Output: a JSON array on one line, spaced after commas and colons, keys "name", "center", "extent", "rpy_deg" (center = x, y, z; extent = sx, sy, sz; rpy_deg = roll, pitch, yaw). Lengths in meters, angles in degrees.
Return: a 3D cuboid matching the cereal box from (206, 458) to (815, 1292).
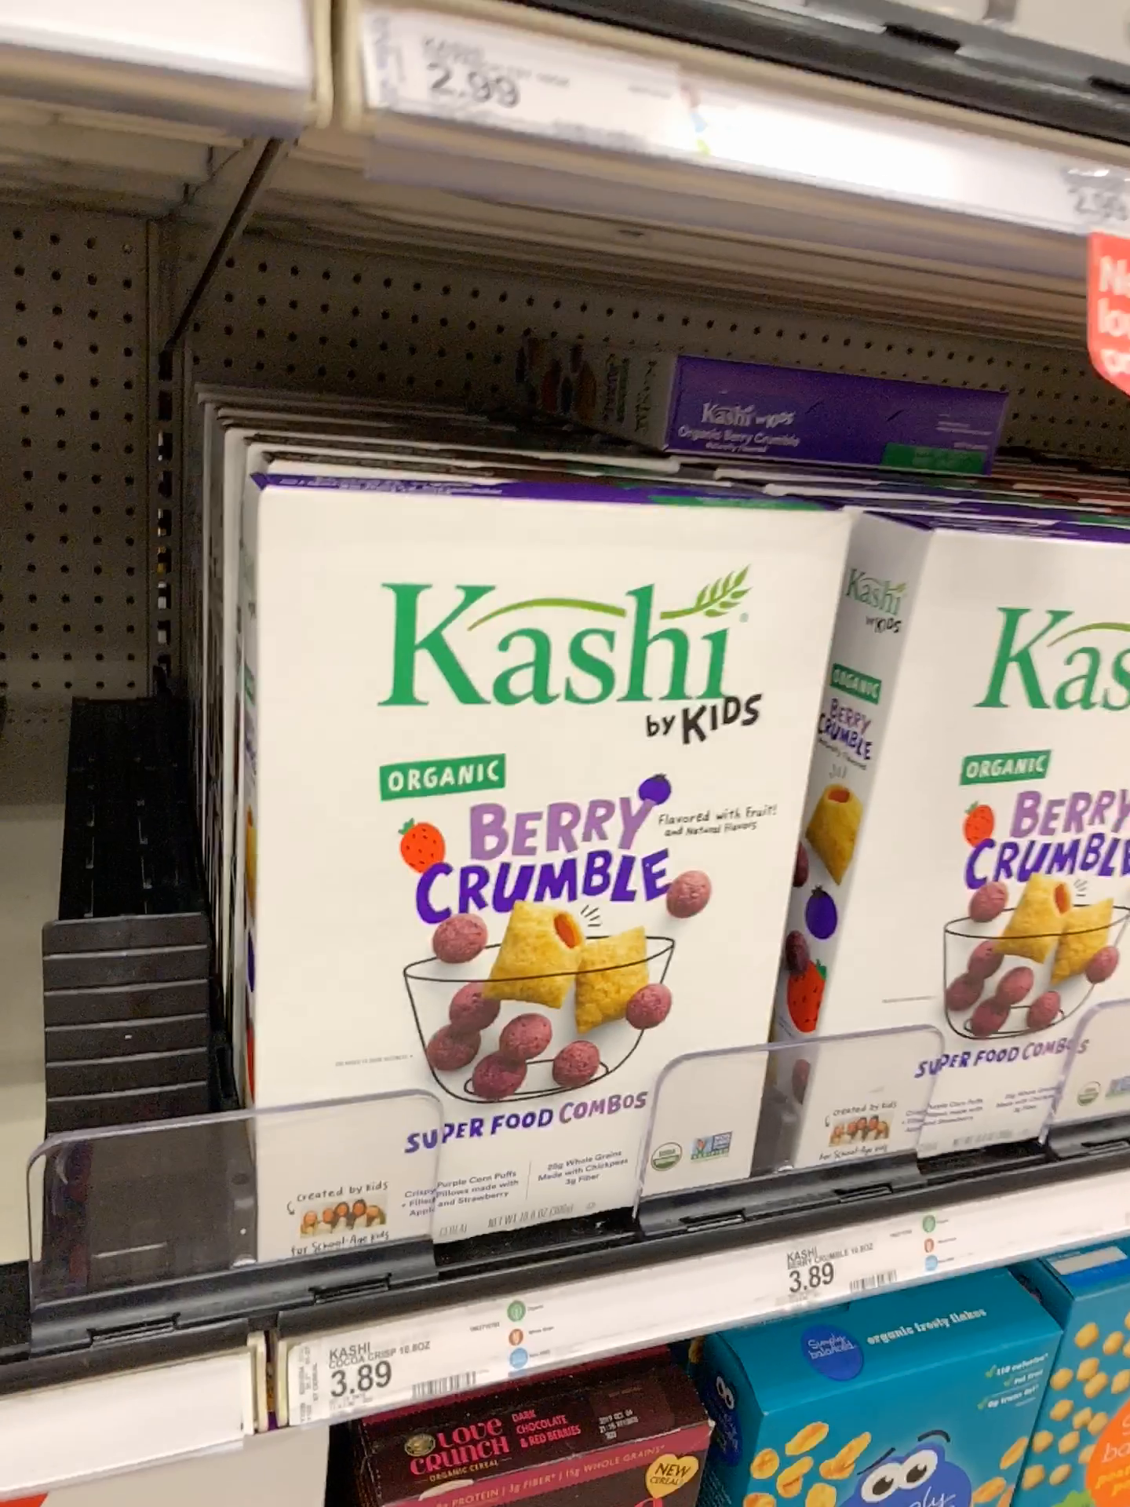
[{"name": "cereal box", "center": [-0.027, 0.045, 0.420], "extent": [0.190, 0.279, 0.050], "rpy_deg": [-2, 20, -23]}]
